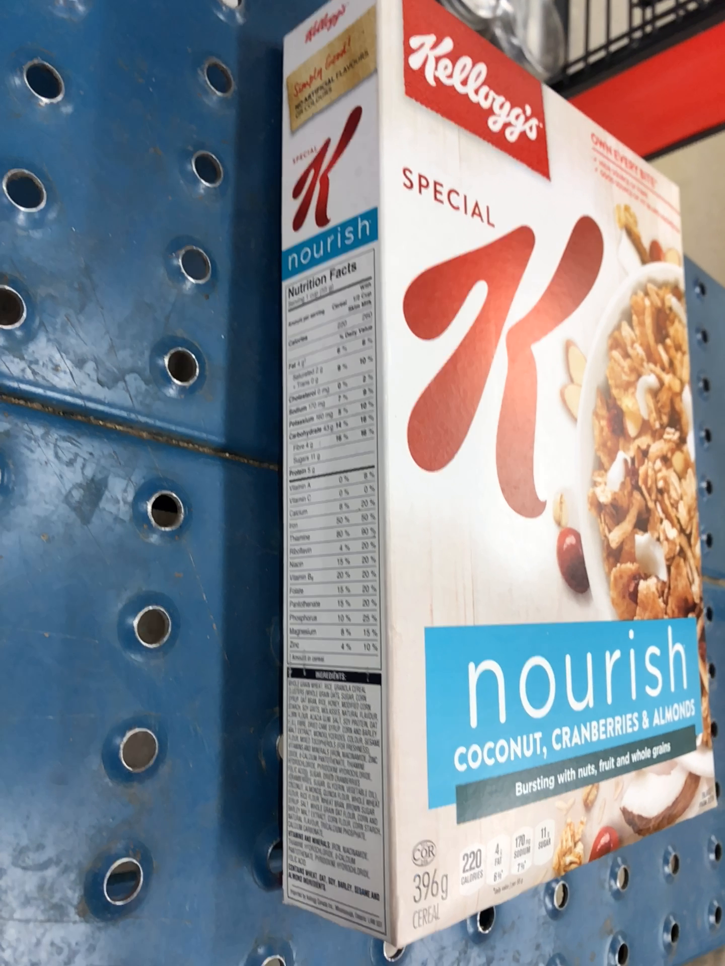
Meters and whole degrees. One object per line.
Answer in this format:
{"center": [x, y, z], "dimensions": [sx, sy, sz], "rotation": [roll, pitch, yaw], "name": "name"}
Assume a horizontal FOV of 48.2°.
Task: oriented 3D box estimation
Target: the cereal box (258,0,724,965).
{"center": [0.063, -0.015, 0.301], "dimensions": [0.211, 0.050, 0.290], "rotation": [7, 80, -44], "name": "cereal box"}
